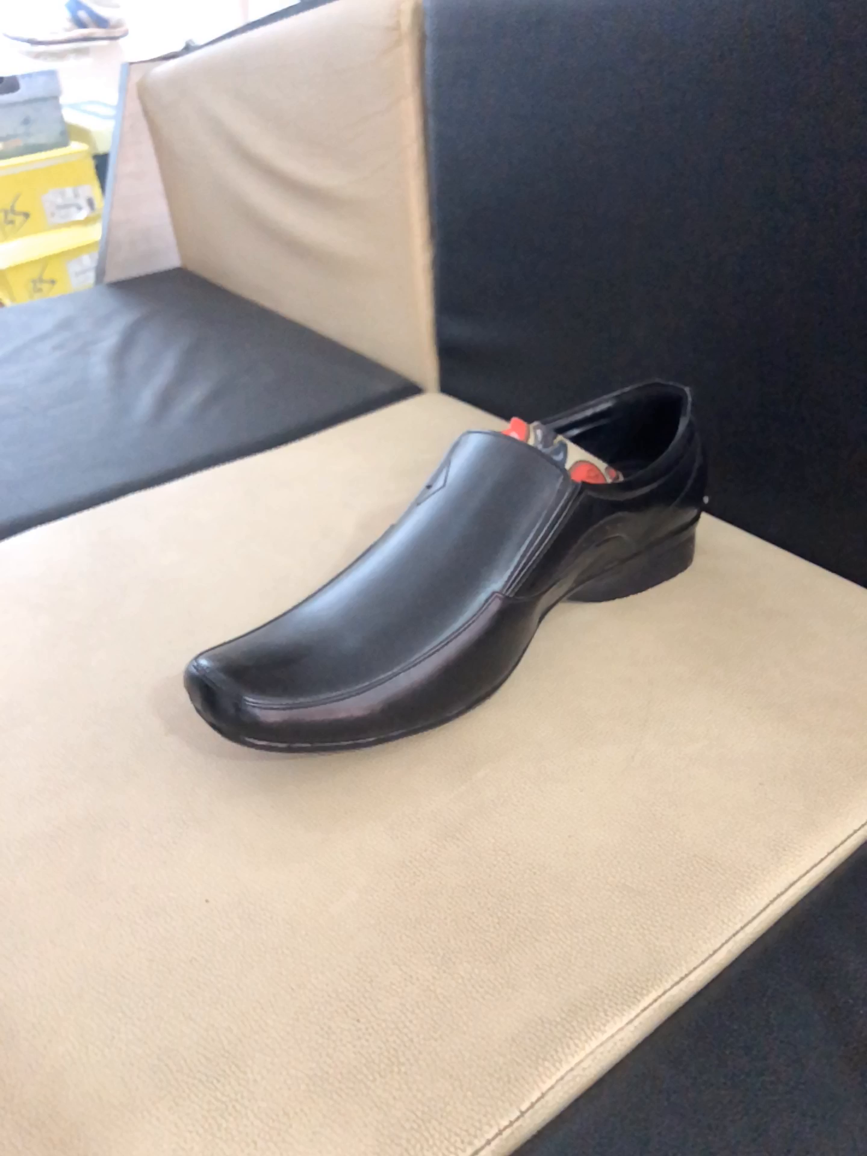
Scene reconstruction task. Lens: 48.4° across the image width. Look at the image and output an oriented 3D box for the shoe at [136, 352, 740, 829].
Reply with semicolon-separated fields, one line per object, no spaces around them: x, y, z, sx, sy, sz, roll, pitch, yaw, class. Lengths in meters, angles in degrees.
0.019;-0.014;0.454;0.281;0.090;0.090;-28;40;-32;shoe
